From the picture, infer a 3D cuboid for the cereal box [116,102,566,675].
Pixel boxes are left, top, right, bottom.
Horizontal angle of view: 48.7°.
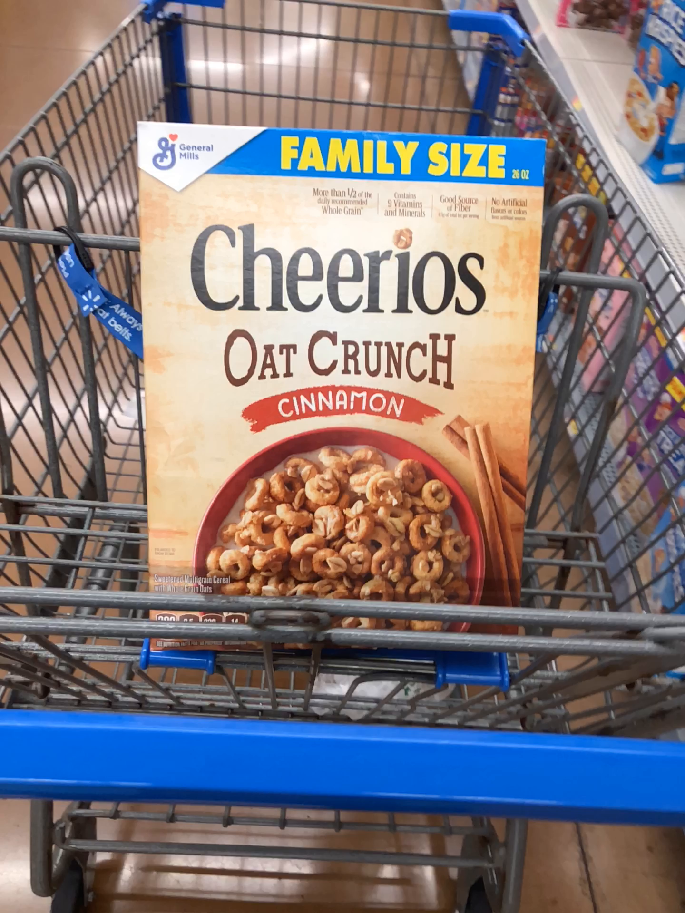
[{"bbox_3d":[-0.006,-0.034,0.486,0.250,0.330,0.080,1,10,-6],"label":"cereal box"}]
